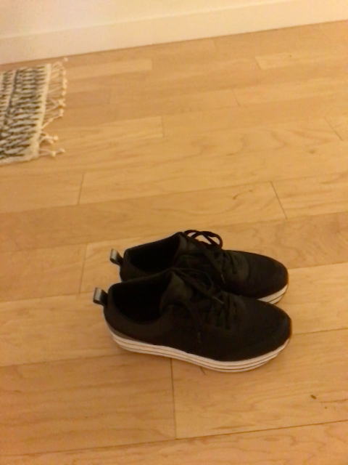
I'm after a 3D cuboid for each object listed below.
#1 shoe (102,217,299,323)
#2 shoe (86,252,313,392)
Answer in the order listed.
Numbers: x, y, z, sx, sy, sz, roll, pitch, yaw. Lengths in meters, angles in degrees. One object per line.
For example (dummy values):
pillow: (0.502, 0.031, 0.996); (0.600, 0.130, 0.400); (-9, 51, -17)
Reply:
shoe: (0.044, 0.064, 0.624); (0.280, 0.139, 0.101); (-1, 43, 7)
shoe: (0.041, 0.127, 0.559); (0.290, 0.139, 0.101); (5, 44, 14)
